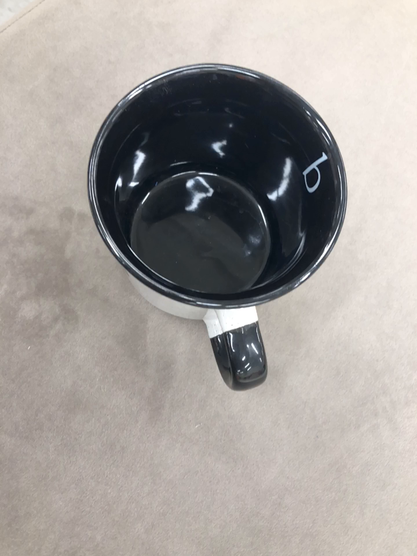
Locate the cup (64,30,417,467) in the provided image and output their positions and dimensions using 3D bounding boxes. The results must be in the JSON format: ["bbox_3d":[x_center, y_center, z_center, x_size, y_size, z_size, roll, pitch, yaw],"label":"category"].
[{"bbox_3d":[0.008,-0.012,0.218,0.100,0.090,0.150,-15,80,-9],"label":"cup"}]
